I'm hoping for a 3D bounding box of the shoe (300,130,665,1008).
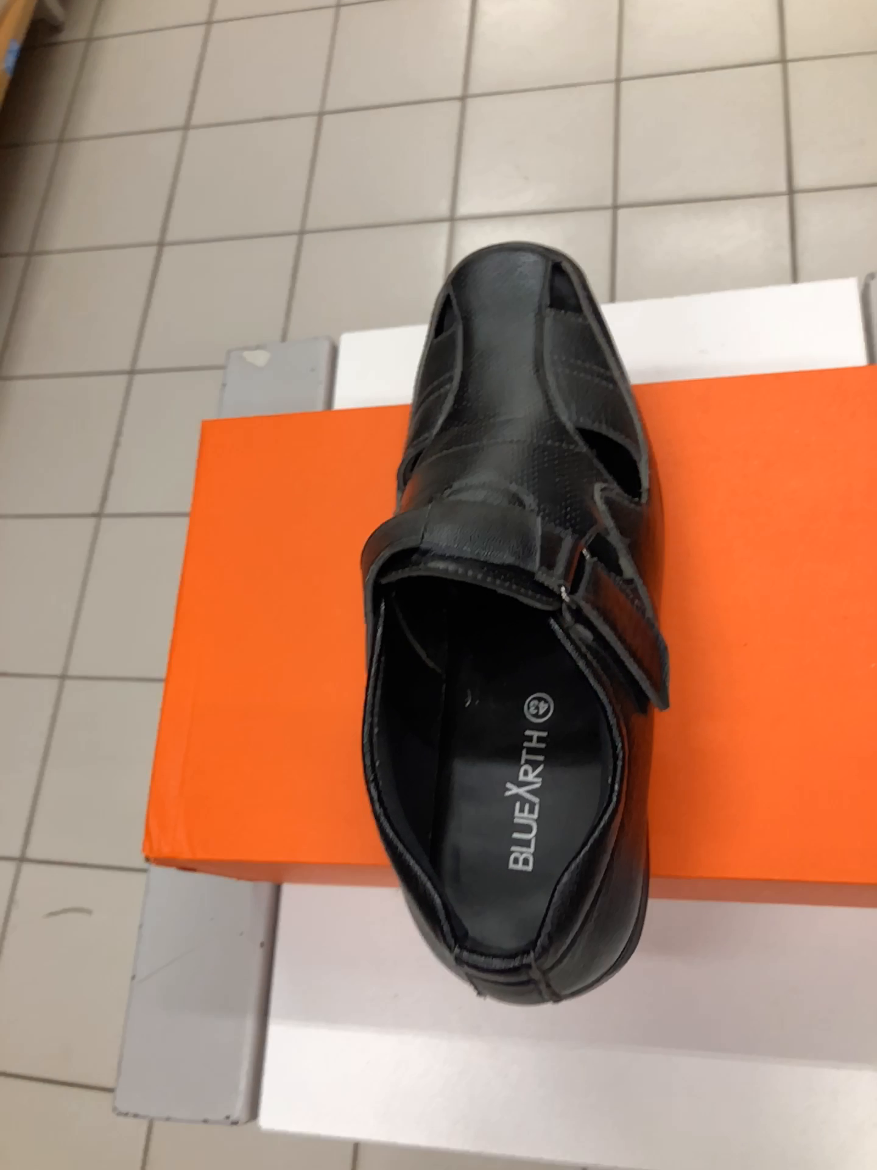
[{"bbox_3d":[0.028,-0.010,0.365,0.100,0.100,0.301,-2,68,13],"label":"shoe"}]
